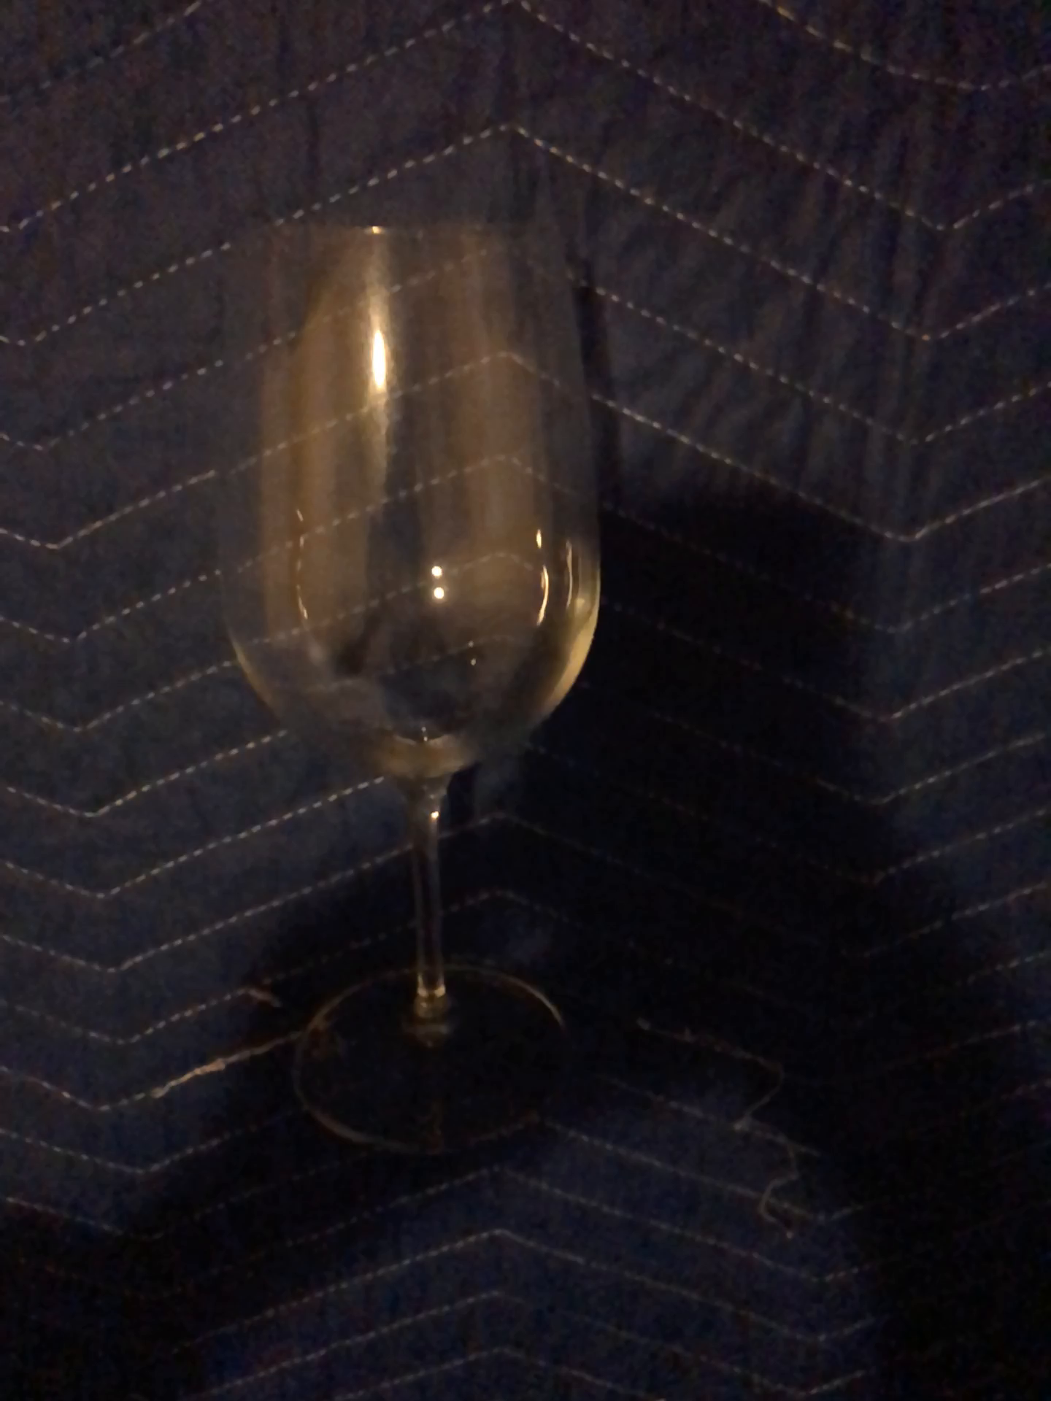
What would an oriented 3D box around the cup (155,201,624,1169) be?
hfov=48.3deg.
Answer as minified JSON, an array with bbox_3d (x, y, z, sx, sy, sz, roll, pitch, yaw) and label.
[{"bbox_3d":[-0.025,-0.004,0.282,0.080,0.090,0.211,-1,112,-2],"label":"cup"}]
